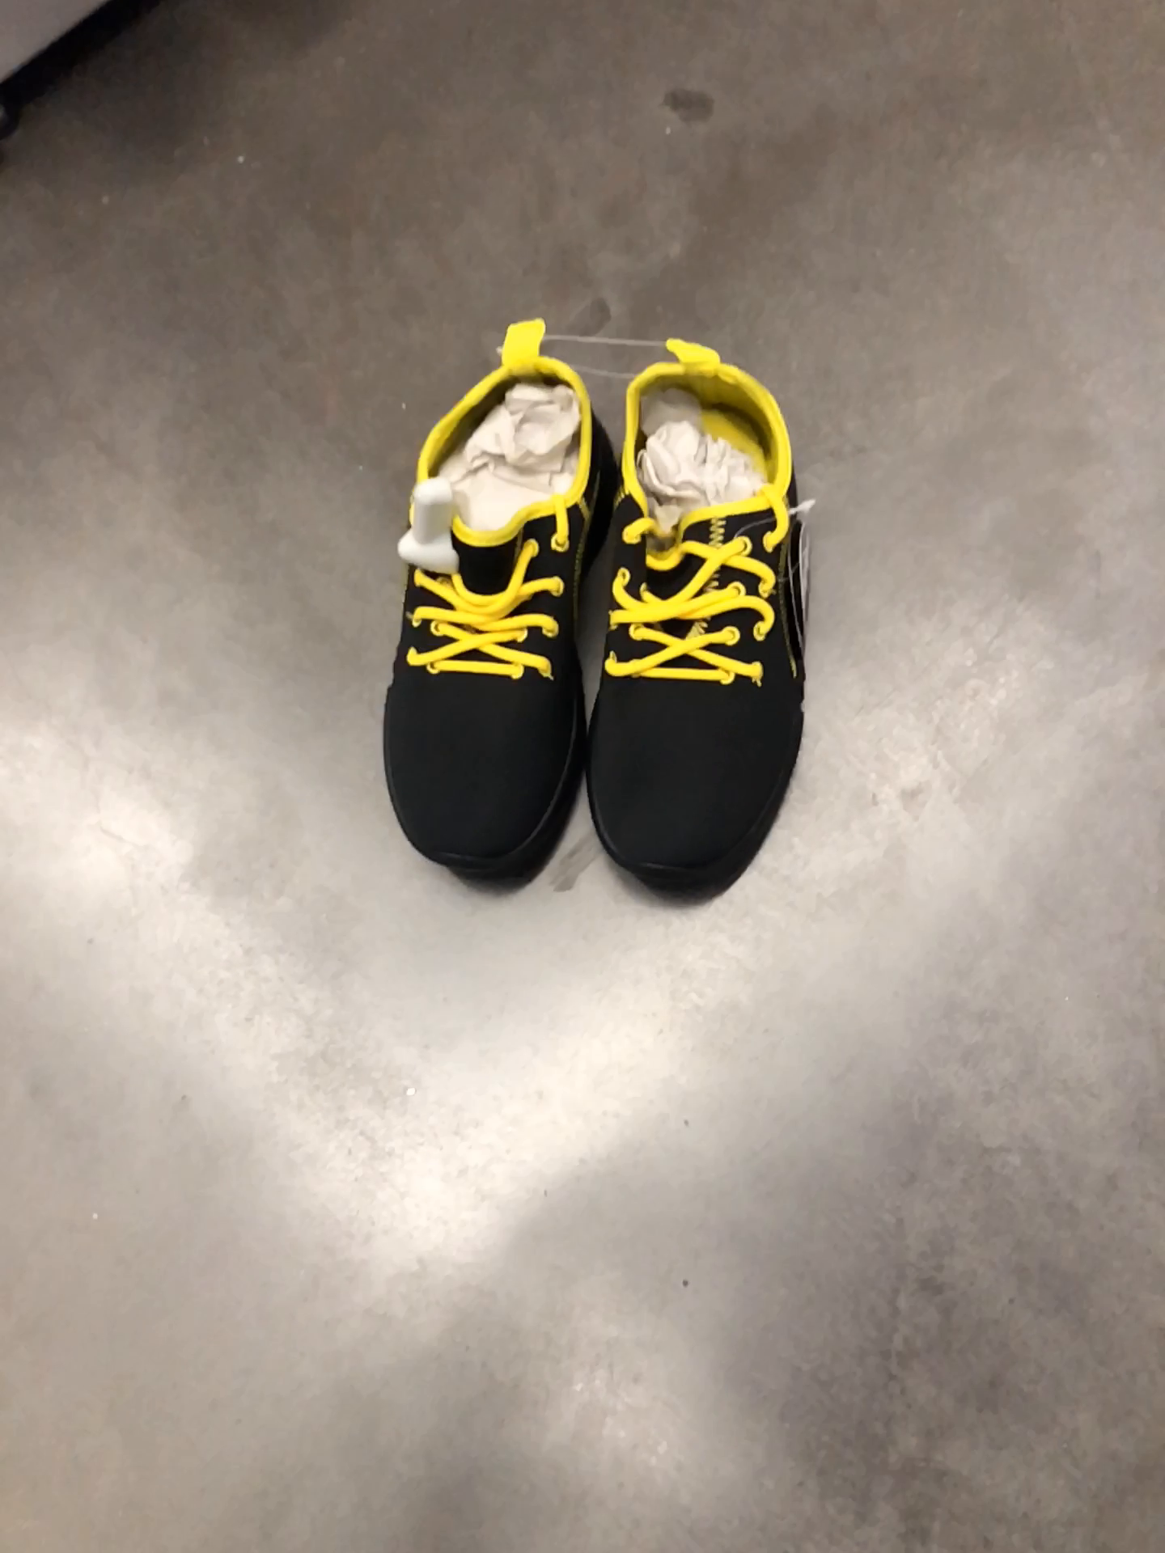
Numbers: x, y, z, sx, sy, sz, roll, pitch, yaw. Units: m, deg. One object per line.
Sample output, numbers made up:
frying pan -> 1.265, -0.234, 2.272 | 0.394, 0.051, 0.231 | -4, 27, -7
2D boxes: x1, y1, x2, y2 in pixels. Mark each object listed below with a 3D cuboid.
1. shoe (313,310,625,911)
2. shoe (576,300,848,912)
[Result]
shoe -> -0.039, -0.070, 0.548 | 0.090, 0.100, 0.231 | 3, 71, 6
shoe -> 0.057, -0.070, 0.538 | 0.090, 0.100, 0.231 | 3, 71, 6
